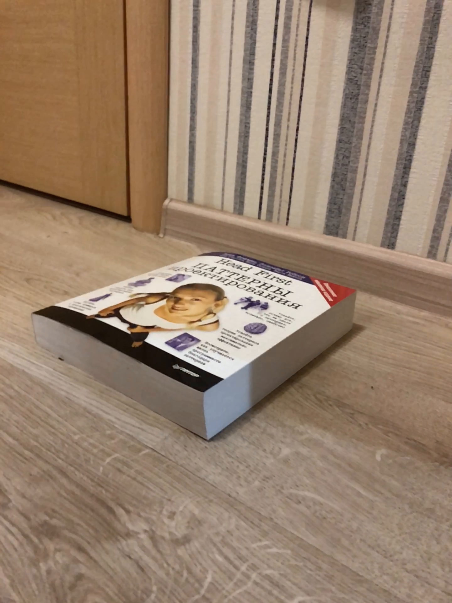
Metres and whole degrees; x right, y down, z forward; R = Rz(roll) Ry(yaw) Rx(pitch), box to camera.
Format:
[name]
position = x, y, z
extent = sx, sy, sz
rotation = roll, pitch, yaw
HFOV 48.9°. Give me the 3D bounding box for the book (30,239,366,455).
[book]
position = -0.016, 0.015, 0.474
extent = 0.206, 0.049, 0.241
rotation = 21, 30, 32
